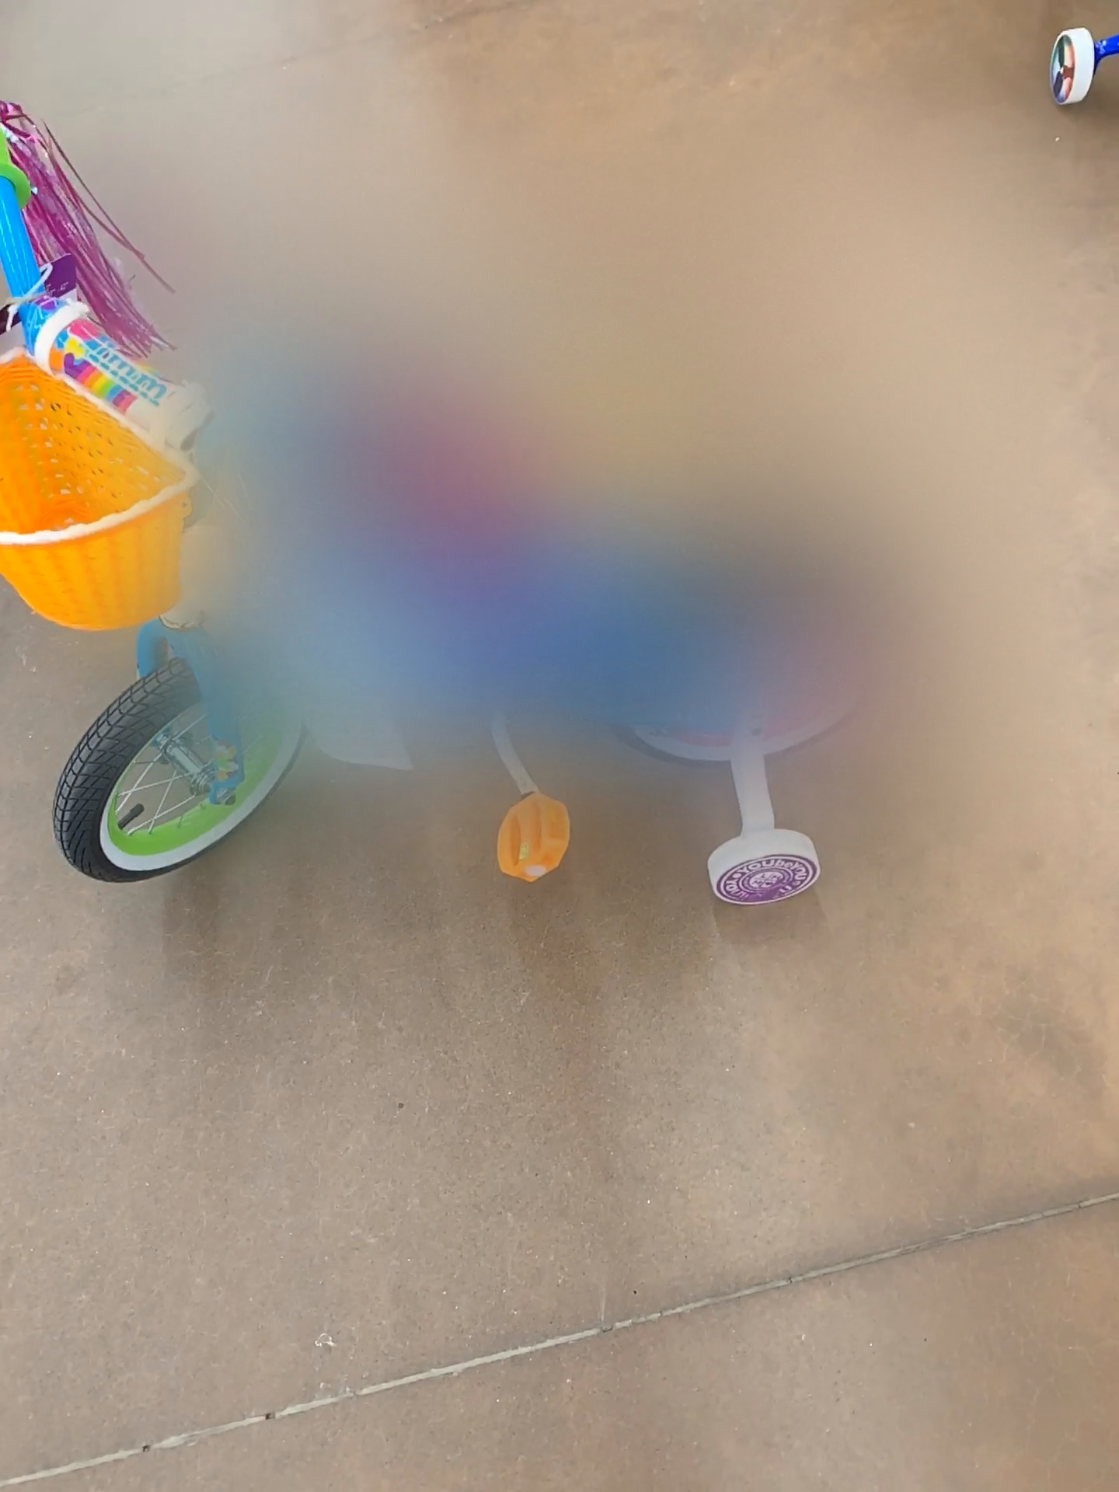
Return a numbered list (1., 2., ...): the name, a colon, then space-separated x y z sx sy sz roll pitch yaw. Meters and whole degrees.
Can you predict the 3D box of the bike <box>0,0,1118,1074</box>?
1. bike: -0.122 -0.188 0.998 0.815 0.664 0.554 -15 54 -4
